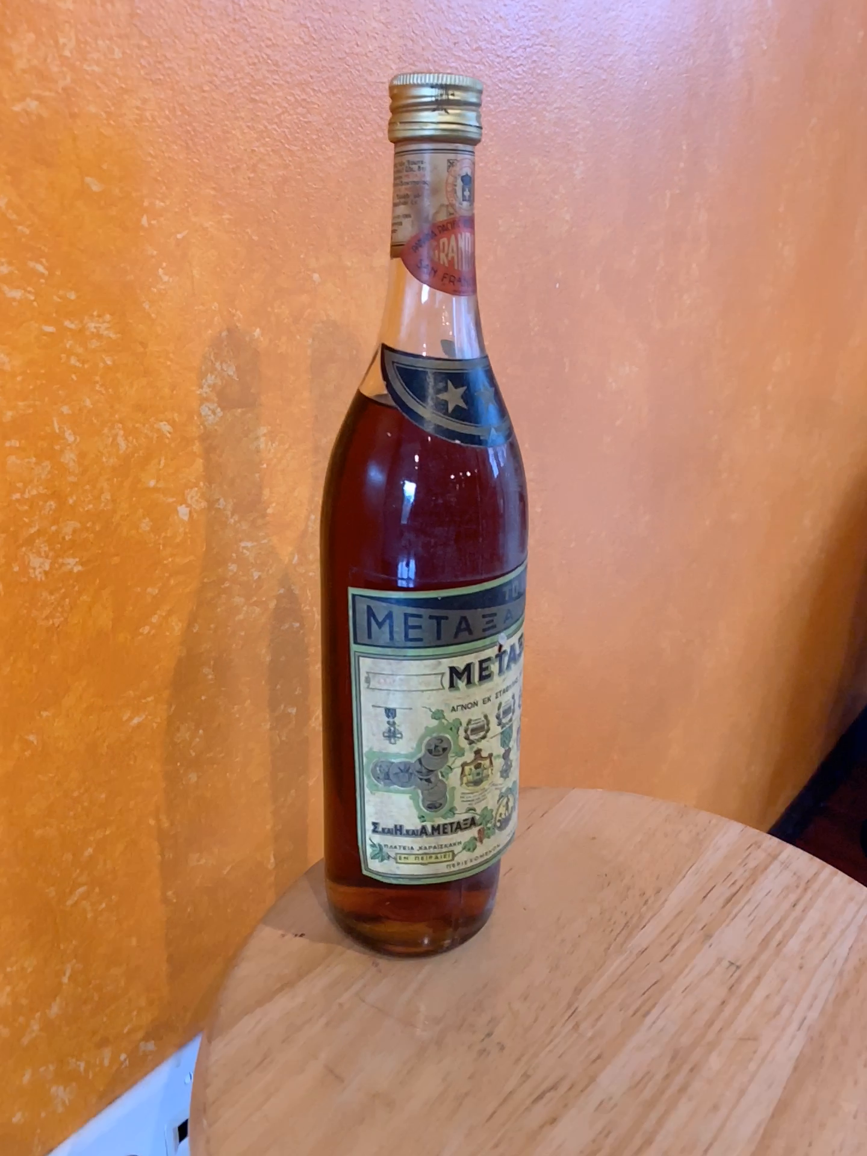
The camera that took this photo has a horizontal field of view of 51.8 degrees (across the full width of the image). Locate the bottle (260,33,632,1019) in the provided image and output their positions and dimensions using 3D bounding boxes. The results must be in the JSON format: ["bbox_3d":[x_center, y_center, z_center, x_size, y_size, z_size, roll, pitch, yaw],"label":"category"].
[{"bbox_3d":[-0.003,-0.005,0.307,0.070,0.299,0.080,20,27,37],"label":"bottle"}]
